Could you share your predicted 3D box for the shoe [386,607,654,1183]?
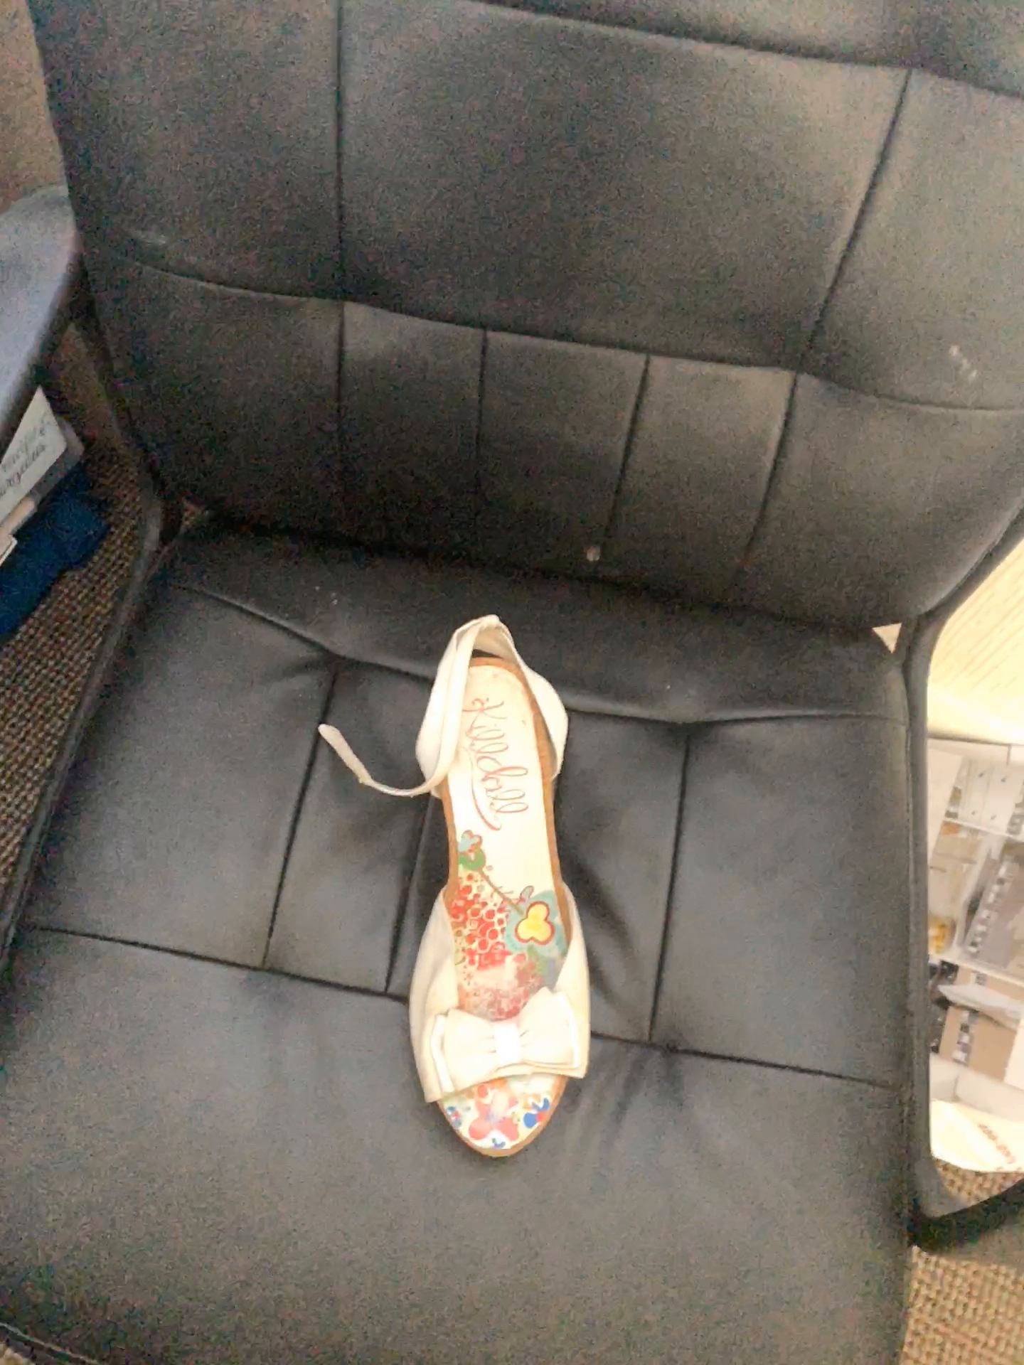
[{"bbox_3d":[-0.010,0.114,0.527,0.100,0.189,0.241,-1,65,-5],"label":"shoe"}]
